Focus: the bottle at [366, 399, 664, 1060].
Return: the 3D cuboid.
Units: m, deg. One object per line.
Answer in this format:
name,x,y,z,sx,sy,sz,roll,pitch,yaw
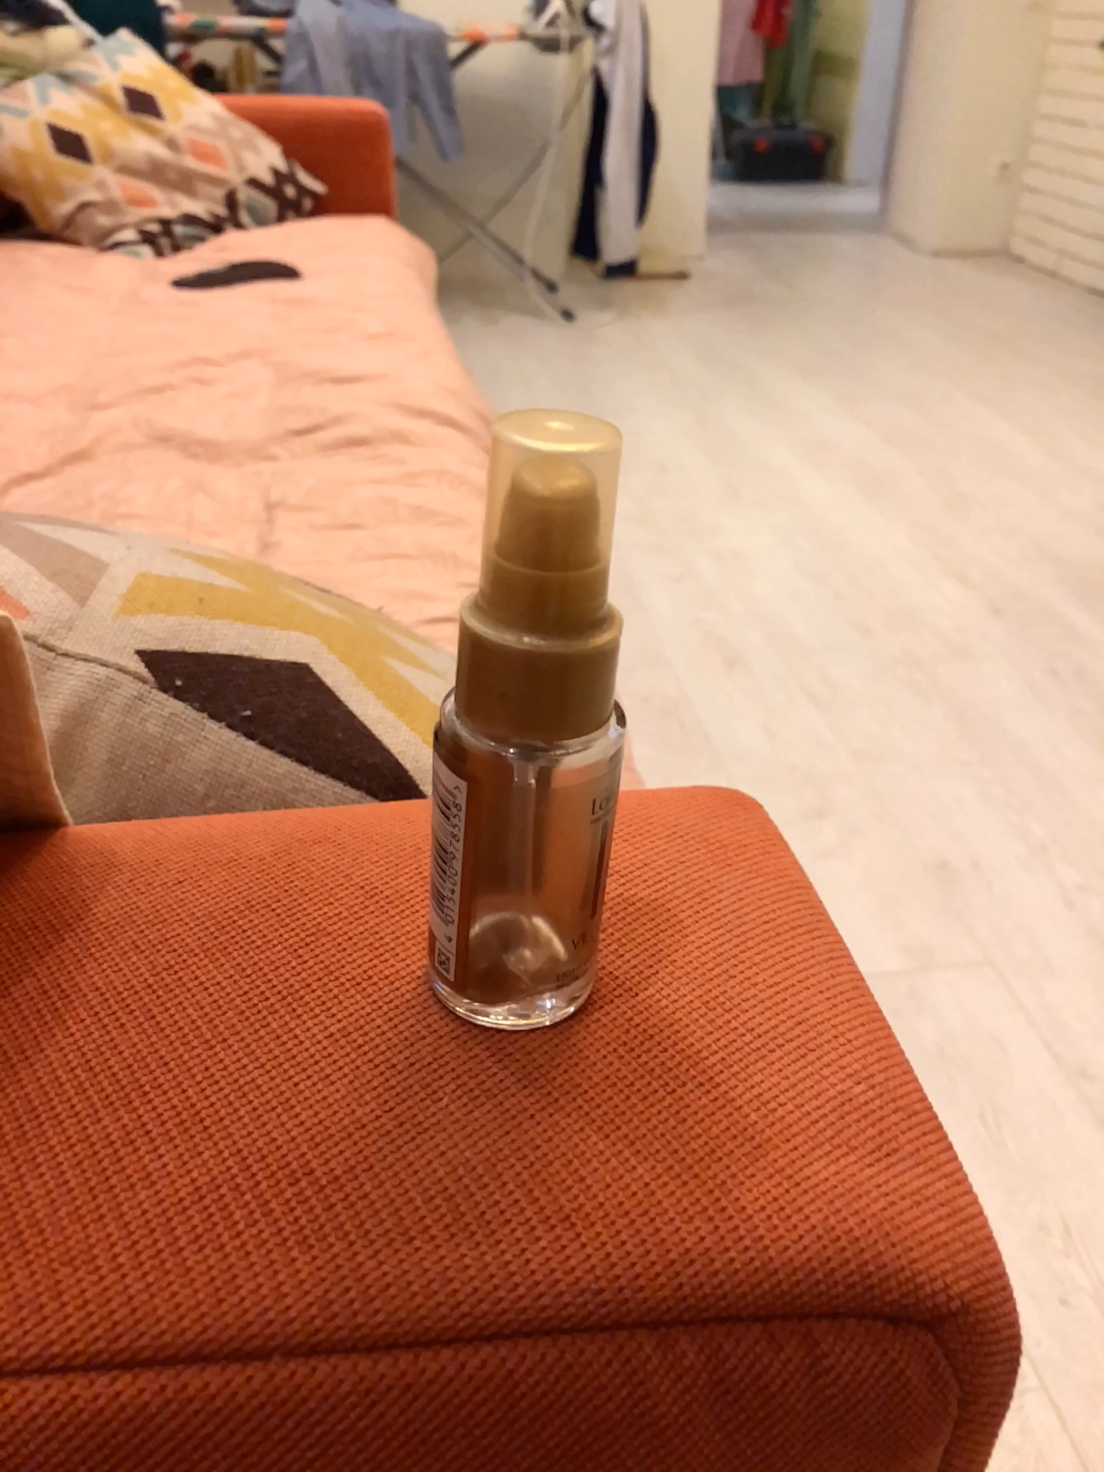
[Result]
bottle,-0.006,0.001,0.214,0.033,0.106,0.035,1,30,0
